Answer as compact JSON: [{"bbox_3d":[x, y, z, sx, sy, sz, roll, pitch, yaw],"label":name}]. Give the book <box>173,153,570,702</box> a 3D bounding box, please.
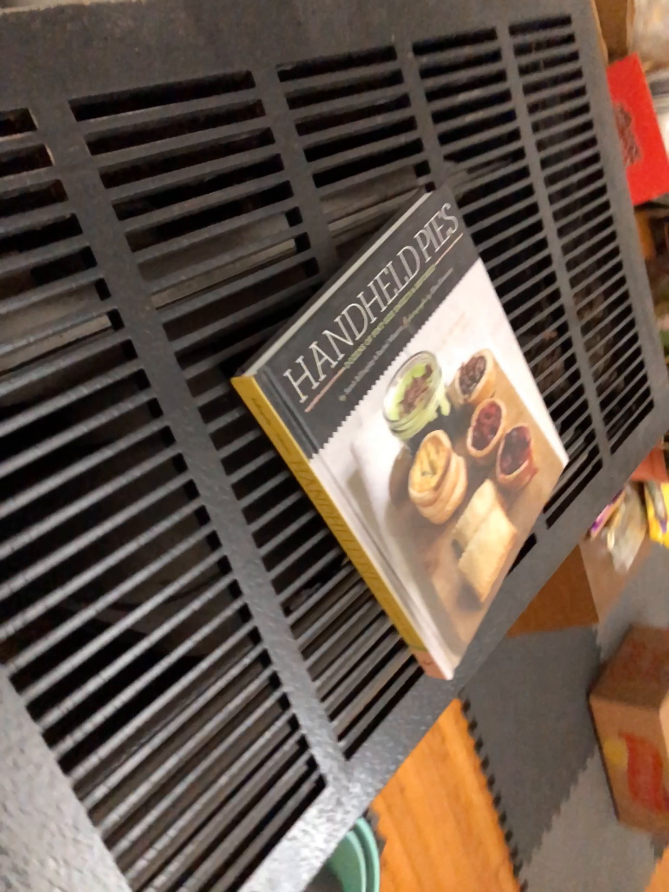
[{"bbox_3d":[0.047,-0.011,0.416,0.201,0.020,0.230,-51,121,-32],"label":"book"}]
